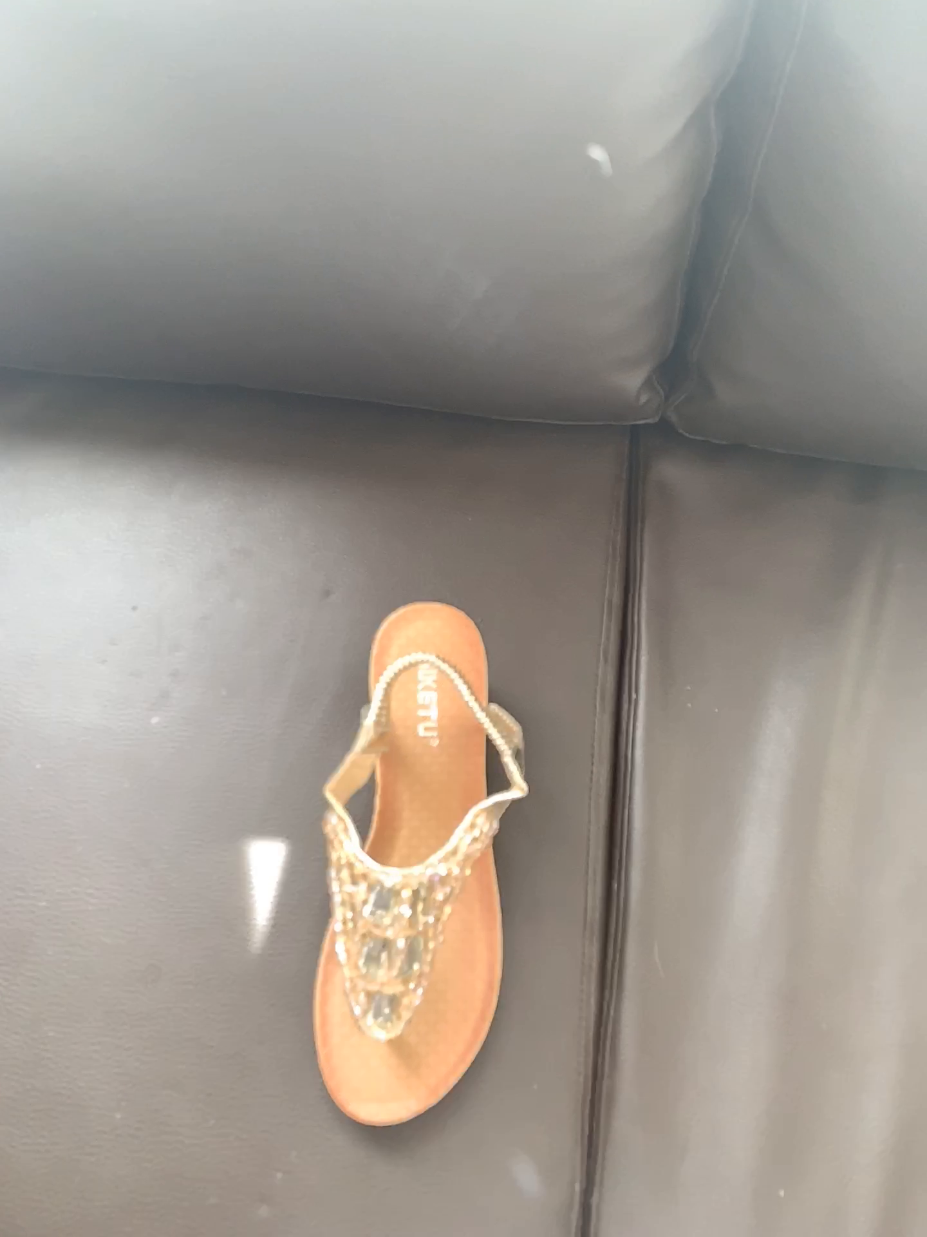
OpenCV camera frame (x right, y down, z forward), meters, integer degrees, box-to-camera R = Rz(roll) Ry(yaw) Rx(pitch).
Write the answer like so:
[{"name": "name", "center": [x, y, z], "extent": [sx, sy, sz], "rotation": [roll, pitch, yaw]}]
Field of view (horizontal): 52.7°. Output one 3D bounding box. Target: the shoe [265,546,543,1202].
[{"name": "shoe", "center": [-0.022, 0.118, 0.476], "extent": [0.100, 0.140, 0.271], "rotation": [4, 72, 0]}]
